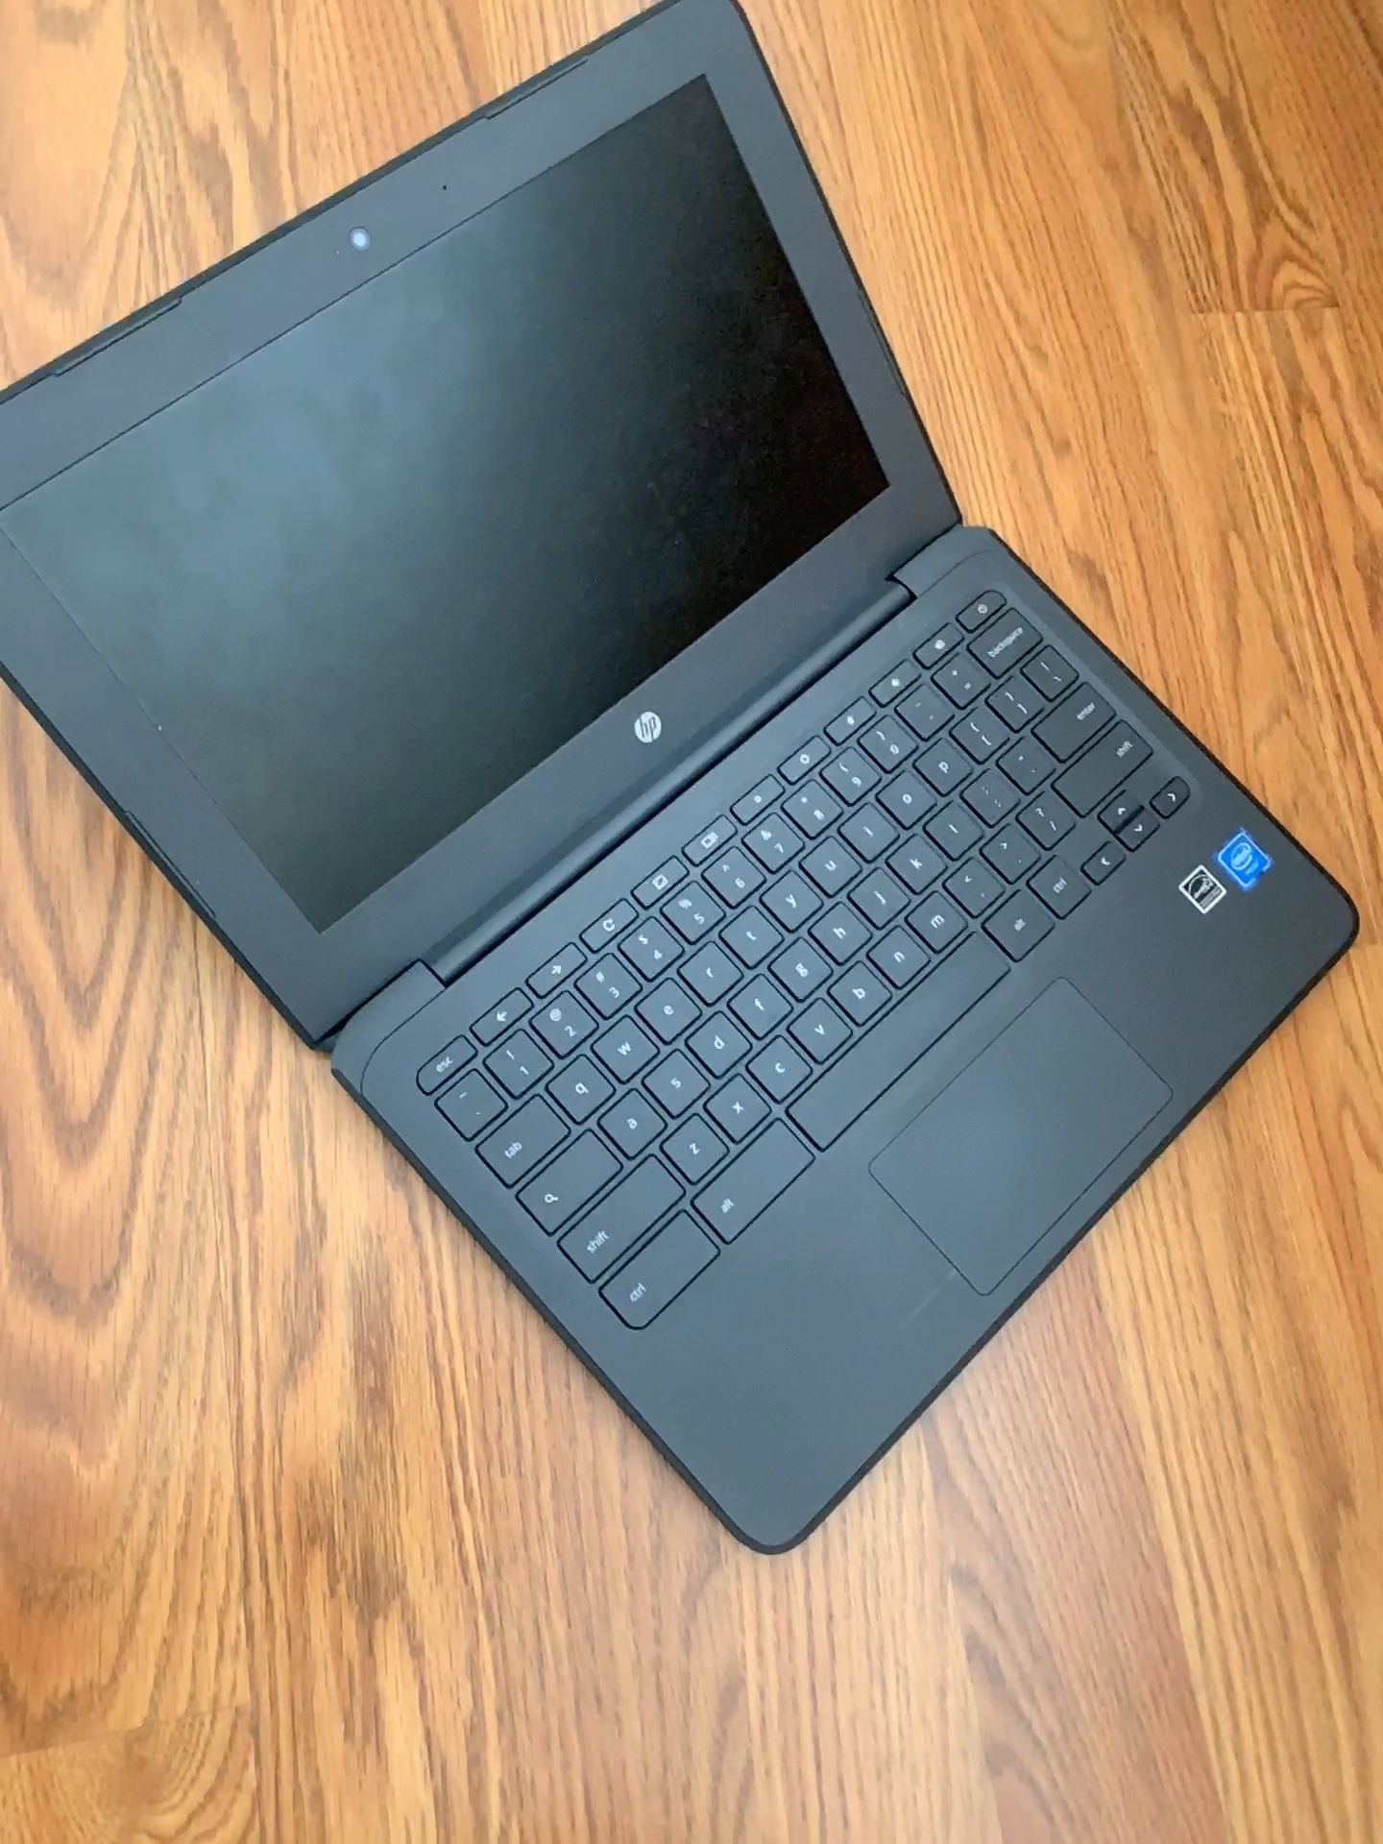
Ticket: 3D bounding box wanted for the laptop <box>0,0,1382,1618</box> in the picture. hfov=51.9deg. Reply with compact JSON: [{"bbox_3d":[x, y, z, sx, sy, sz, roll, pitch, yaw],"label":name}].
[{"bbox_3d":[0.018,-0.053,0.433,0.299,0.110,0.360,-41,84,-17],"label":"laptop"}]
